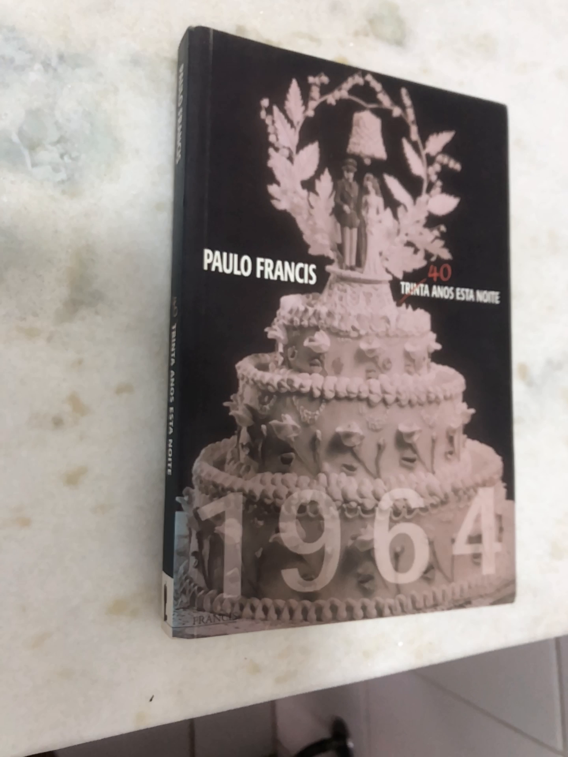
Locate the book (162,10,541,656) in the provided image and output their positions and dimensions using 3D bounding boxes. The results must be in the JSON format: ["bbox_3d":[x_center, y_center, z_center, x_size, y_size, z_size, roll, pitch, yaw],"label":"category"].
[{"bbox_3d":[0.030,-0.015,0.234,0.140,0.020,0.203,3,85,-22],"label":"book"}]
